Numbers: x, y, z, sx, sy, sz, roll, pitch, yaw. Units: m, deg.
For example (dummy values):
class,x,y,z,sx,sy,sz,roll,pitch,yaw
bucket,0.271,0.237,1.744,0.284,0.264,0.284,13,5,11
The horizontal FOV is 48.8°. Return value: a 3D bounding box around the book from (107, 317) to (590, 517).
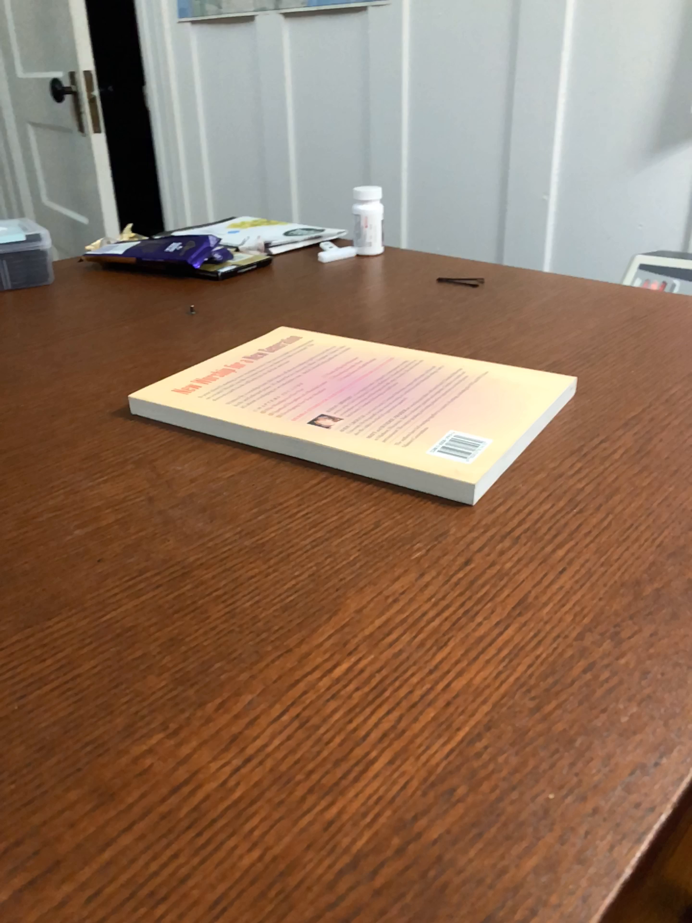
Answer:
class,x,y,z,sx,sy,sz,roll,pitch,yaw
book,0.006,-0.048,0.524,0.270,0.020,0.191,14,31,27
